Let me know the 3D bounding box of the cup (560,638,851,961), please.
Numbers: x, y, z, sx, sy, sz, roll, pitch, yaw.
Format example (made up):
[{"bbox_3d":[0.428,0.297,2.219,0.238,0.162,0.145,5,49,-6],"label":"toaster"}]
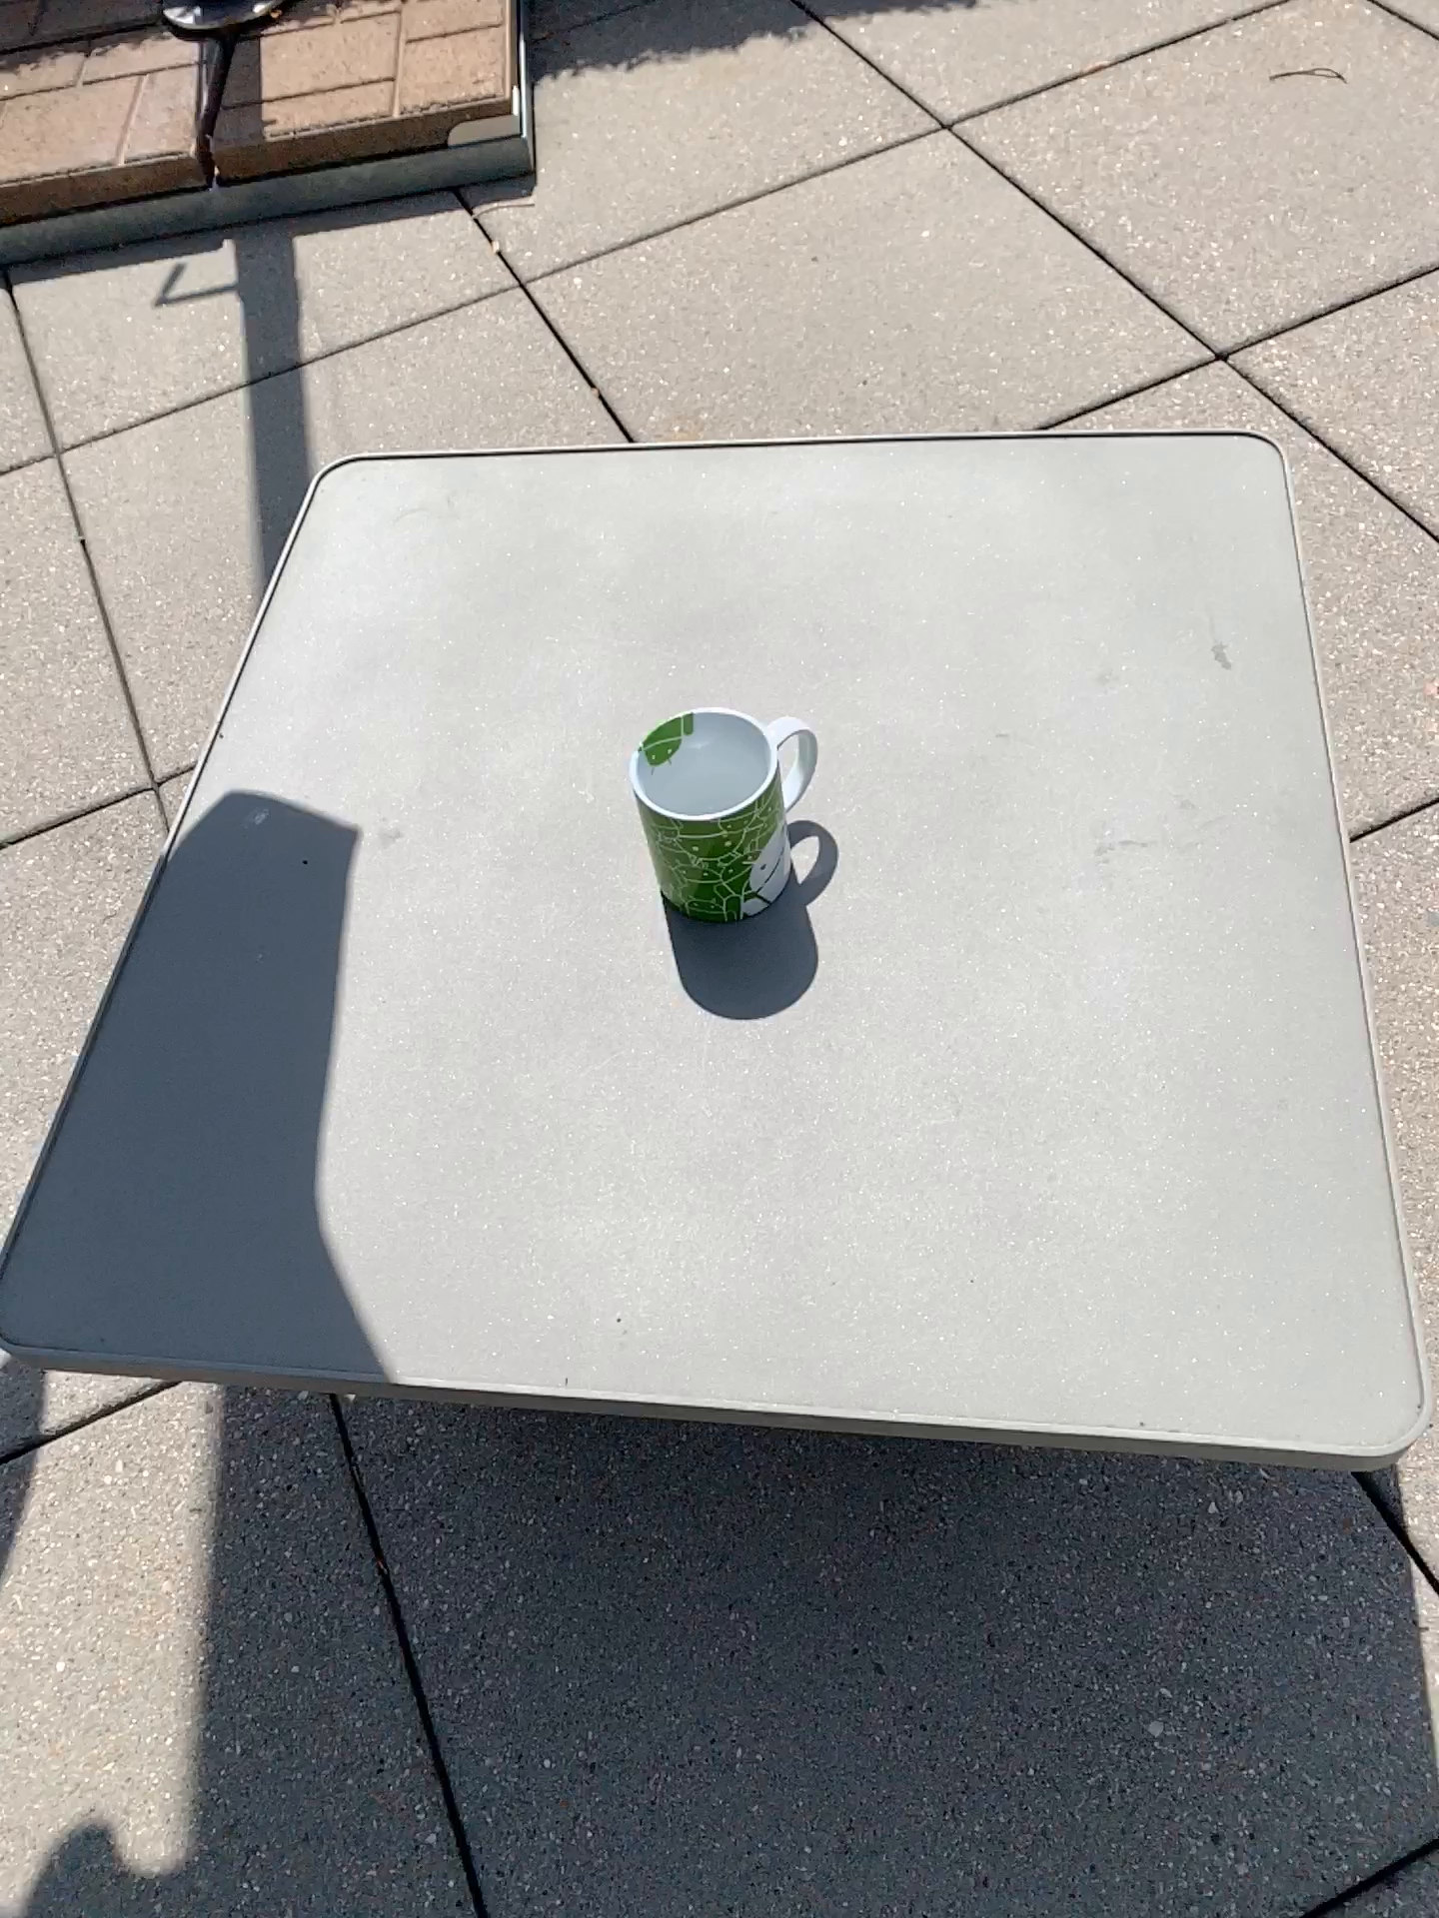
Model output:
[{"bbox_3d":[-0.004,-0.086,0.786,0.090,0.090,0.120,29,65,26],"label":"cup"}]
